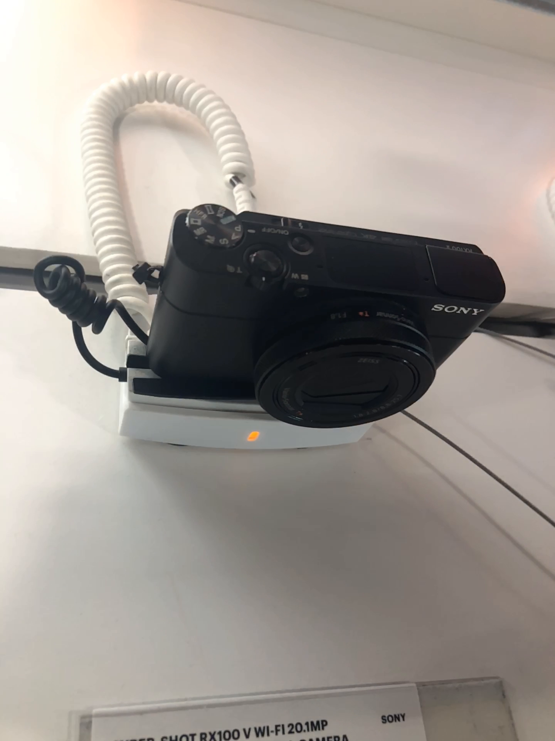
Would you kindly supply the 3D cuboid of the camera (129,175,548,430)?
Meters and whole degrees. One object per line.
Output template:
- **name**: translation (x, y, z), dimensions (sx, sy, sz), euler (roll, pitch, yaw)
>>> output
- **camera**: translation (0.012, -0.013, 0.179), dimensions (0.101, 0.063, 0.032), euler (4, 57, -16)
